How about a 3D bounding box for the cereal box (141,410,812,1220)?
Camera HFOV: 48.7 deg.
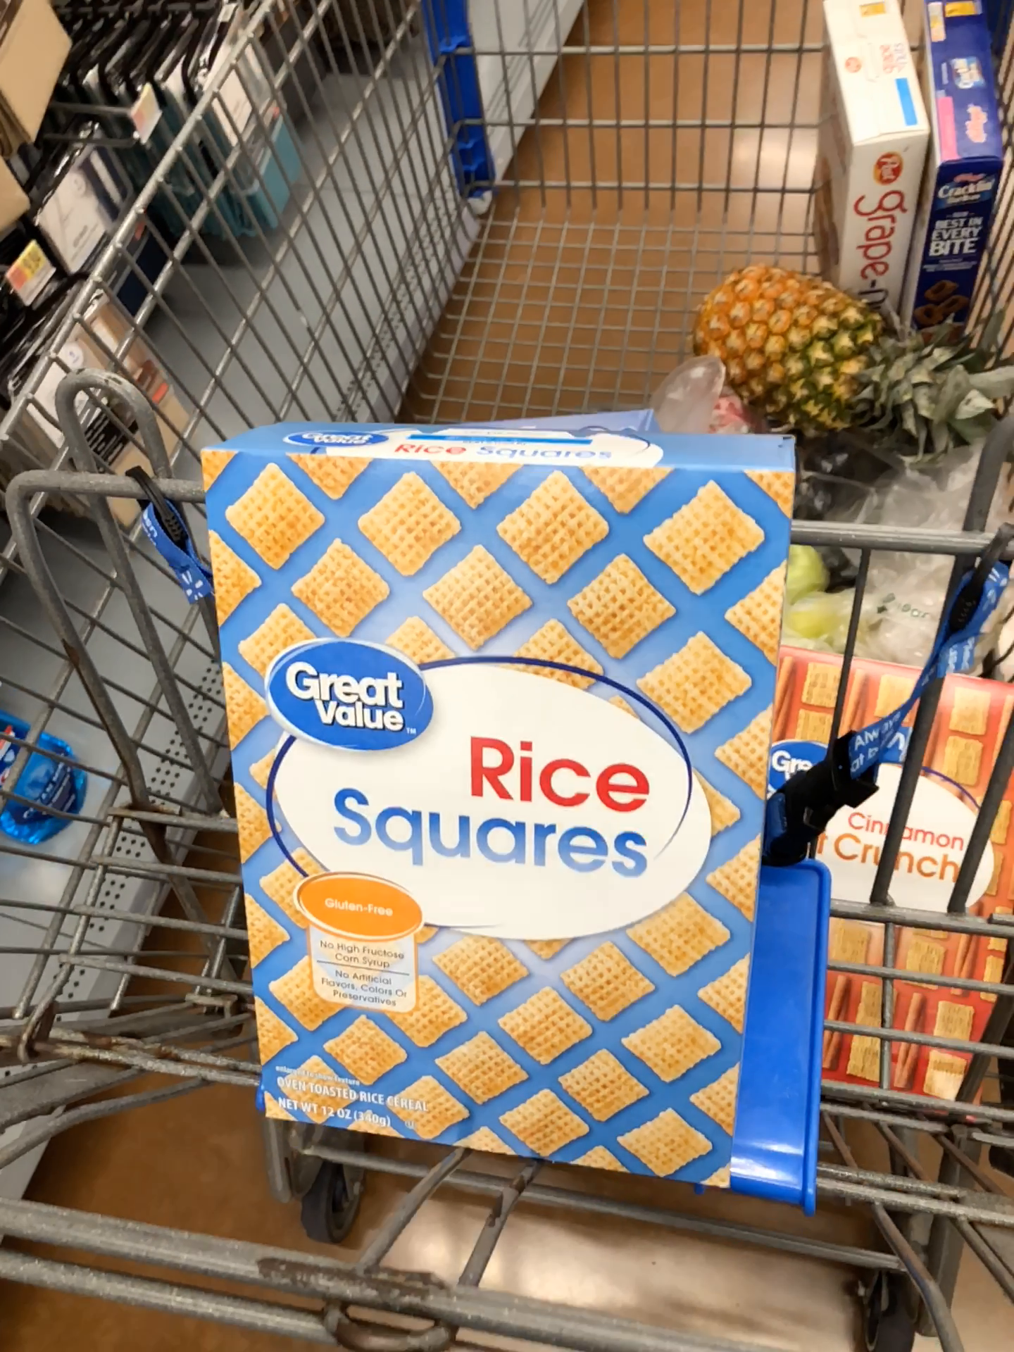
[{"bbox_3d":[-0.007,0.049,0.425,0.210,0.280,0.080,4,21,12],"label":"cereal box"}]
